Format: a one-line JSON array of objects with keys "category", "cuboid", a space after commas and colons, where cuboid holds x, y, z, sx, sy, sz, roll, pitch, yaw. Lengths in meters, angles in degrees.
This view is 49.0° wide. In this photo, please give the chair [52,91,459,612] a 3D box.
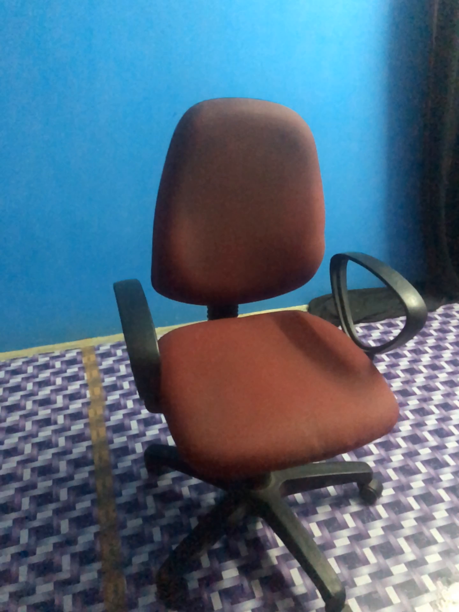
[{"category": "chair", "cuboid": [0.091, 0.088, 1.044, 0.701, 0.895, 0.743, -5, 31, -12]}]
